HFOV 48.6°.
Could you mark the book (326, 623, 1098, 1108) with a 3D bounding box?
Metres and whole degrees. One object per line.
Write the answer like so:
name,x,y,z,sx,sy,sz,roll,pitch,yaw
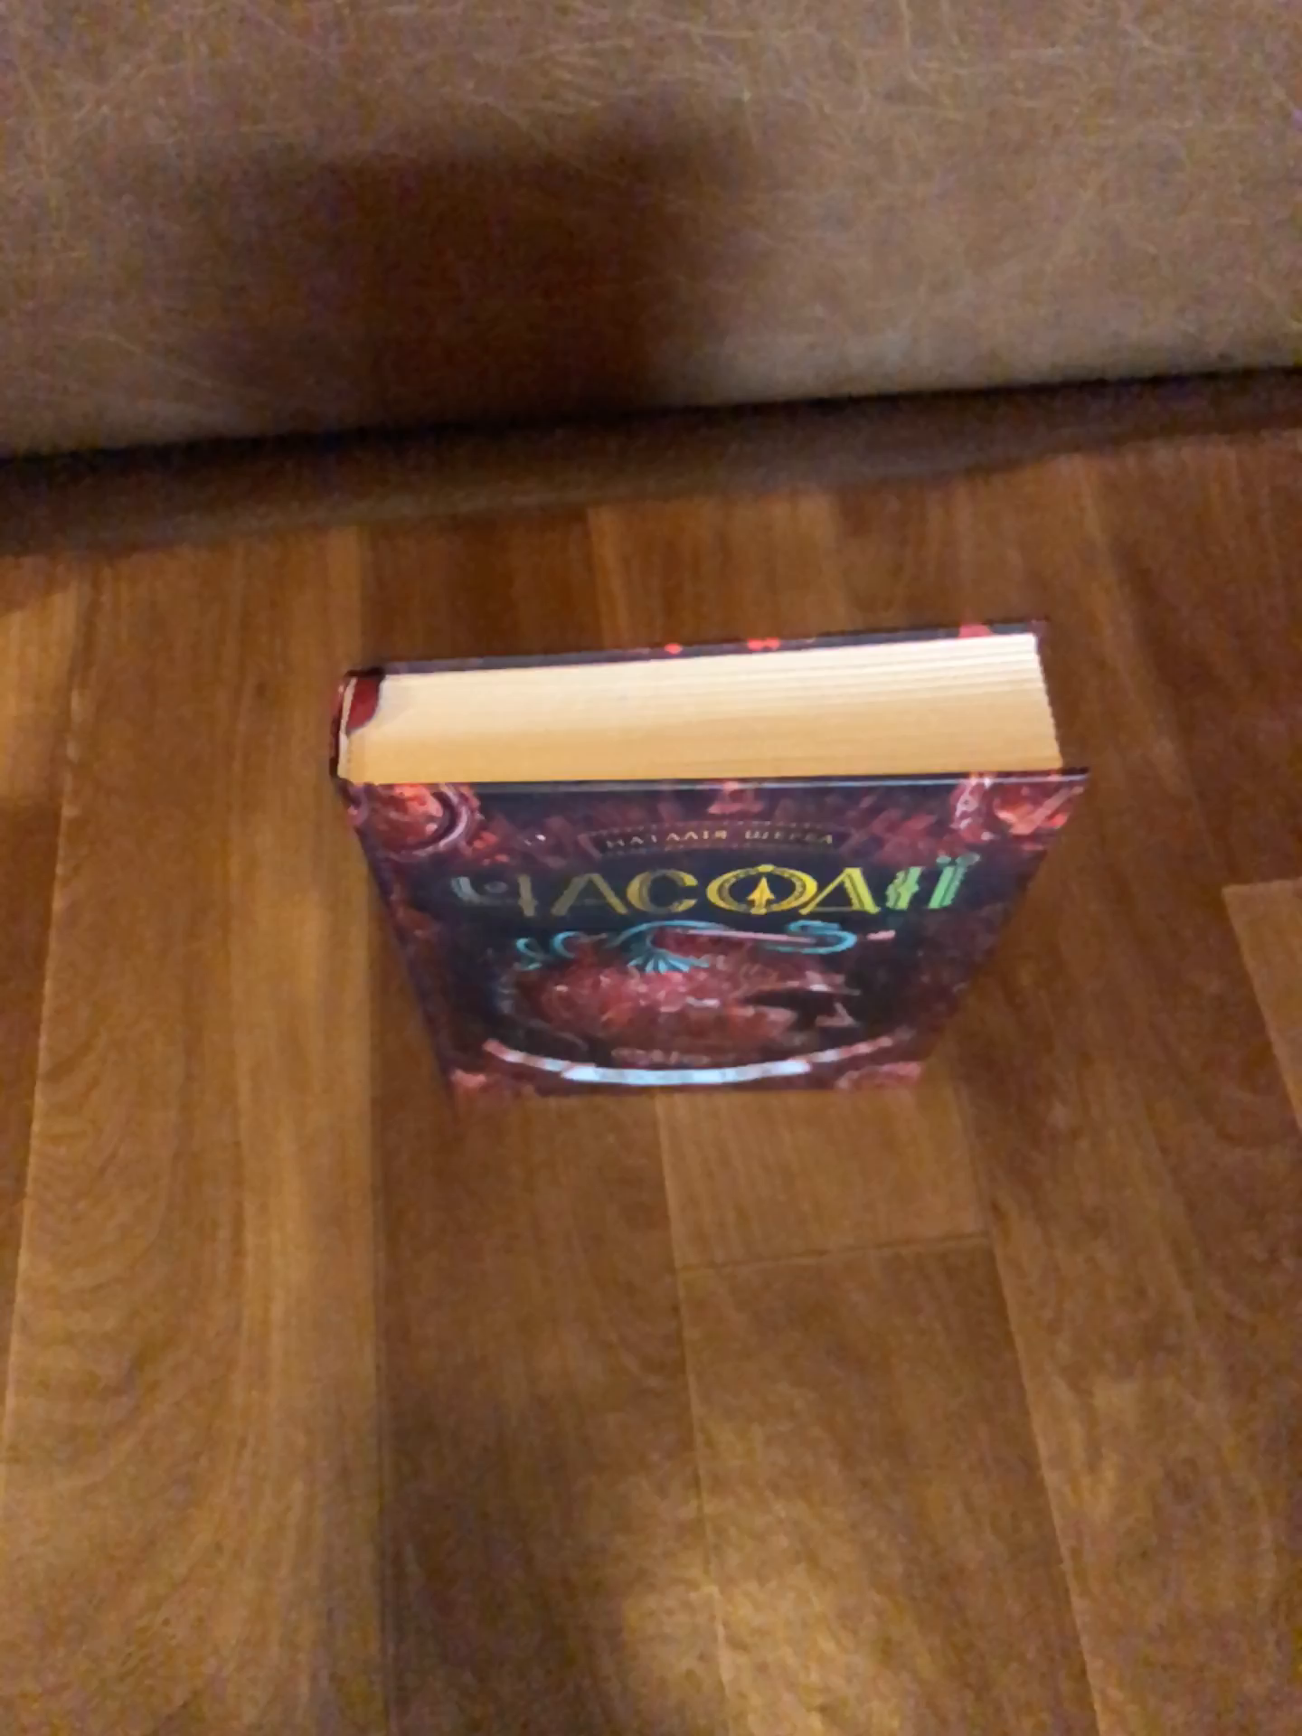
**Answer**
book,0.011,0.014,0.423,0.170,0.220,0.040,-2,63,-2
